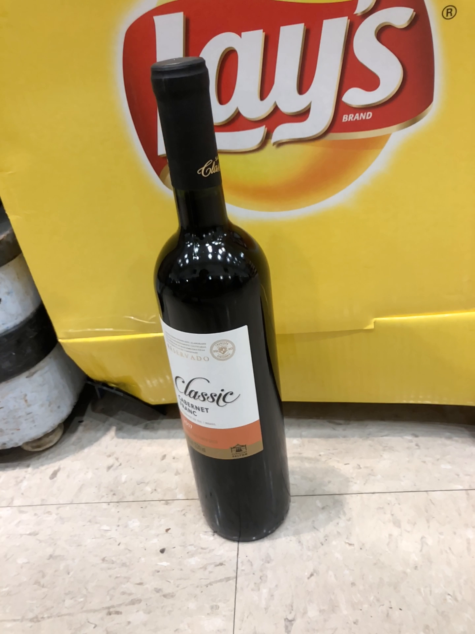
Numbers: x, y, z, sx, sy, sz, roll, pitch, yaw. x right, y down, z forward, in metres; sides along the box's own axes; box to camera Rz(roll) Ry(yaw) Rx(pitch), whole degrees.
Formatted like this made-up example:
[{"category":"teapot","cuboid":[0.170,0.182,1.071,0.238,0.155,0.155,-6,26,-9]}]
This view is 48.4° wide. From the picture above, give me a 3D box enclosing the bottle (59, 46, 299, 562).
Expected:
[{"category":"bottle","cuboid":[-0.016,0.016,0.327,0.070,0.317,0.060,10,36,27]}]
